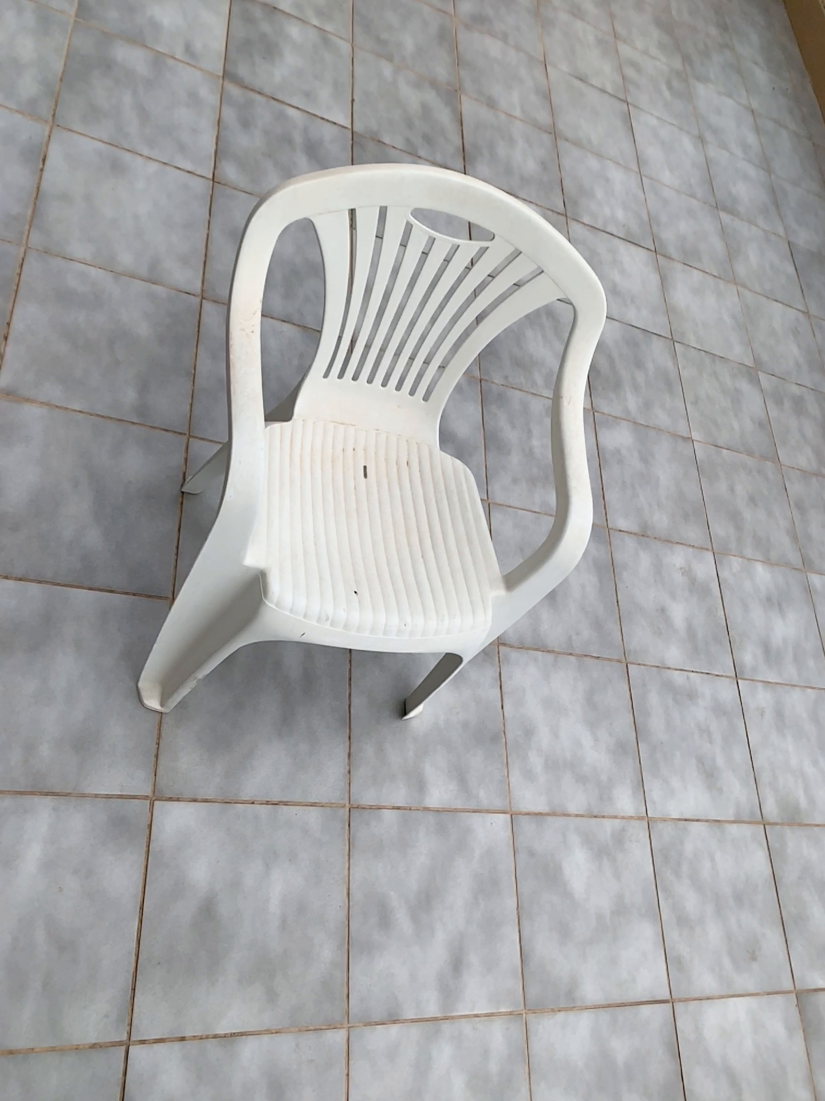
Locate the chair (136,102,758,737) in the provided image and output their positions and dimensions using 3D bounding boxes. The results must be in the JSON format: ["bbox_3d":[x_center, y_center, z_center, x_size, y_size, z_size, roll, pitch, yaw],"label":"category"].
[{"bbox_3d":[-0.029,-0.083,1.225,0.571,0.667,0.561,7,64,-27],"label":"chair"}]
